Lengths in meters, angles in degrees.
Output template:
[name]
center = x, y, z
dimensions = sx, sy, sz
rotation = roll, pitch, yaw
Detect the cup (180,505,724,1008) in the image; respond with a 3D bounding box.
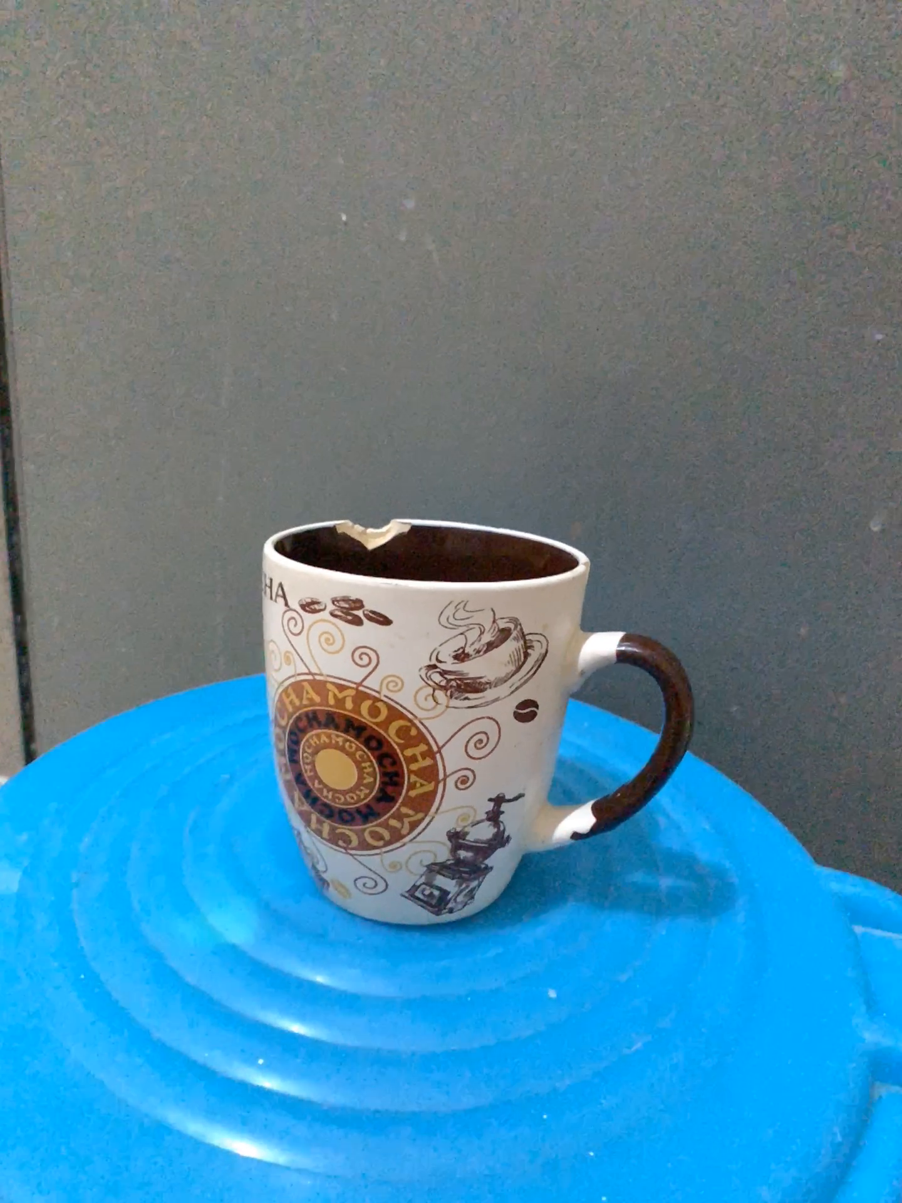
[cup]
center = 0.002, 0.027, 0.240
dimensions = 0.110, 0.080, 0.080
rotation = 10, 16, 22
